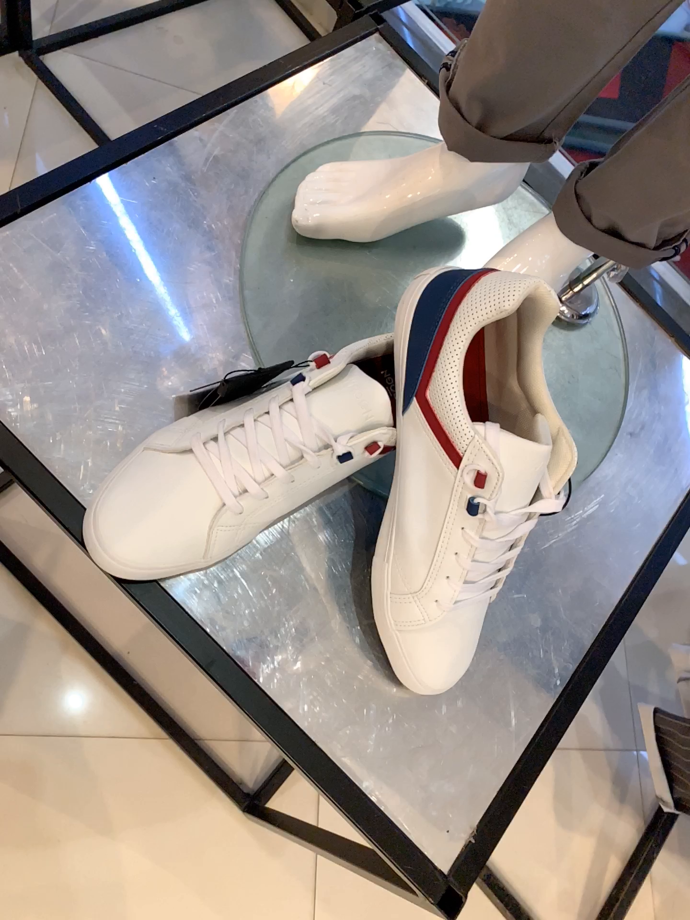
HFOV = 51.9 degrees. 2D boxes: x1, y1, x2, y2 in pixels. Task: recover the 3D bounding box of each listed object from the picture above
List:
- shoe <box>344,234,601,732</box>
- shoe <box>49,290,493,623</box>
[{"bbox_3d":[0.081,0.015,0.464,0.100,0.100,0.280,7,87,-28],"label":"shoe"},{"bbox_3d":[-0.046,-0.007,0.496,0.281,0.100,0.100,-30,92,-26],"label":"shoe"}]
